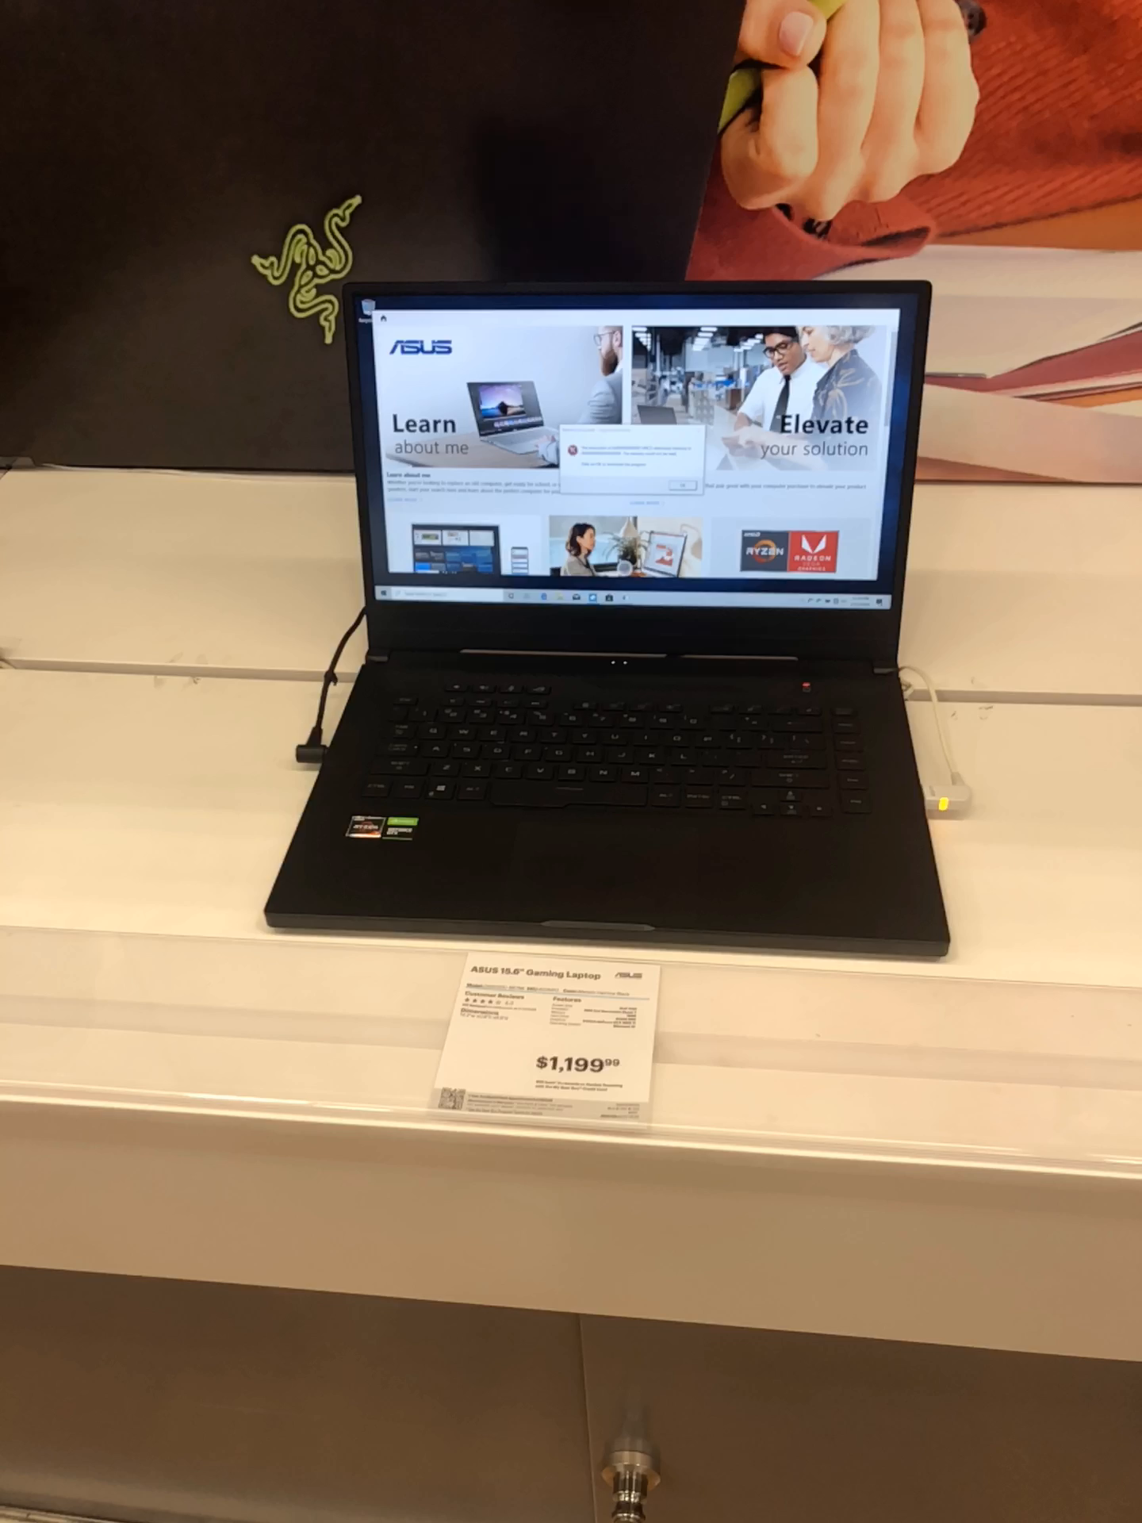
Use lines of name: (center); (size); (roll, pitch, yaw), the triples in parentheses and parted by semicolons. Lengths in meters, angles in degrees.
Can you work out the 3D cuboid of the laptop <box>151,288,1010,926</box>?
laptop: (0.018, -0.102, 0.702); (0.351, 0.221, 0.311); (2, 38, 6)
